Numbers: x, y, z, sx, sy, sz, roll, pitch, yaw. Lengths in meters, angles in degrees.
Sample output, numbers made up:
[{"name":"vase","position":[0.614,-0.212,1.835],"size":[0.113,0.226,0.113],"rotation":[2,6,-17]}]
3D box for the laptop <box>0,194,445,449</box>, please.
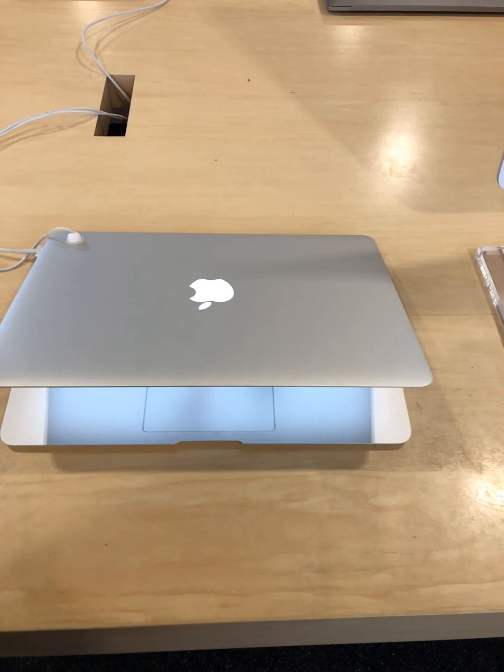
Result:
[{"name":"laptop","position":[-0.031,-0.020,0.462],"size":[0.315,0.067,0.216],"rotation":[0,53,-2]}]
